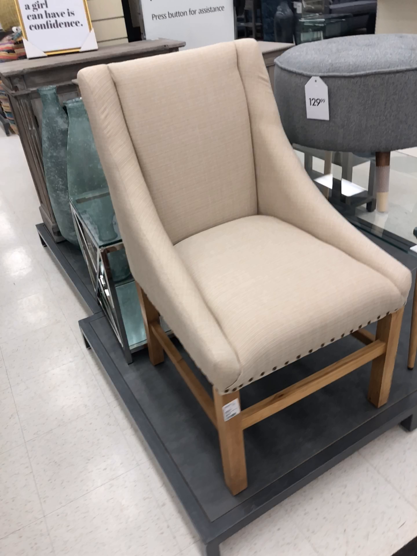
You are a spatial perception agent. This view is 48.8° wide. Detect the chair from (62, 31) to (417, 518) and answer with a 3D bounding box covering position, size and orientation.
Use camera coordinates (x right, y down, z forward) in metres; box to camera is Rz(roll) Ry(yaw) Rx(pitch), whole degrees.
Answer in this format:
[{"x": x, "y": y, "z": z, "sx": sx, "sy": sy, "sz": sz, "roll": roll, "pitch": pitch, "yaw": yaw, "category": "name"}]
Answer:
[{"x": 0.124, "y": -0.060, "z": 1.226, "sx": 0.610, "sy": 0.966, "sz": 0.652, "roll": -22, "pitch": 36, "yaw": -22, "category": "chair"}]
